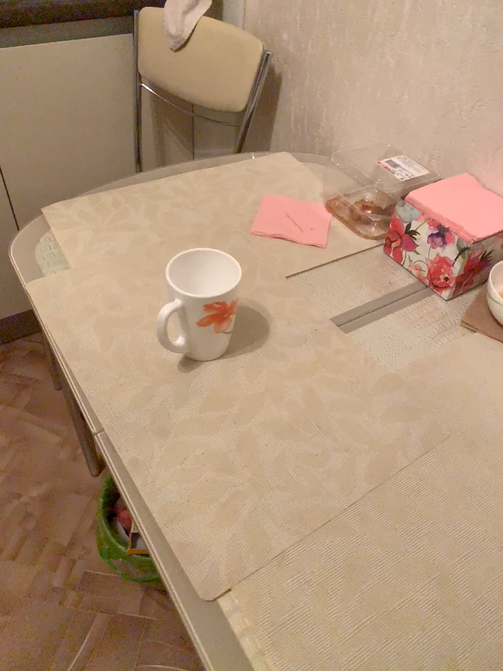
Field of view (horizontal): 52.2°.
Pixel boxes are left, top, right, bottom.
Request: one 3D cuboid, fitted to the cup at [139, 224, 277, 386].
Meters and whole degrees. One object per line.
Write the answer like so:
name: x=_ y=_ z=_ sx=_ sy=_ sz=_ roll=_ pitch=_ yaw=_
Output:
cup: x=-0.044 y=-0.035 z=0.547 sx=0.084 sy=0.099 sz=0.119 roll=26 pitch=49 yaw=20
